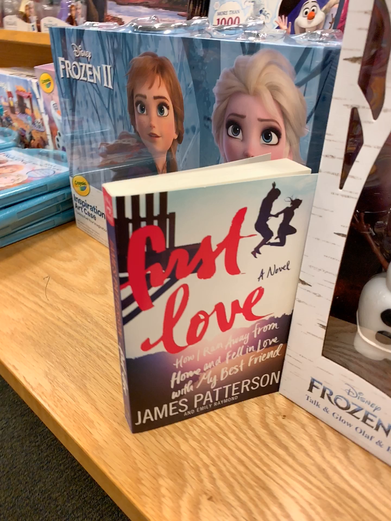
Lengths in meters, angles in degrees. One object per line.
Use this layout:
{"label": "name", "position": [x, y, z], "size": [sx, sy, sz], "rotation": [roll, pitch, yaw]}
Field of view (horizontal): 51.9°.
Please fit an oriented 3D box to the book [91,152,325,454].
{"label": "book", "position": [0.008, 0.032, 0.311], "size": [0.142, 0.205, 0.059], "rotation": [-11, 30, -21]}
